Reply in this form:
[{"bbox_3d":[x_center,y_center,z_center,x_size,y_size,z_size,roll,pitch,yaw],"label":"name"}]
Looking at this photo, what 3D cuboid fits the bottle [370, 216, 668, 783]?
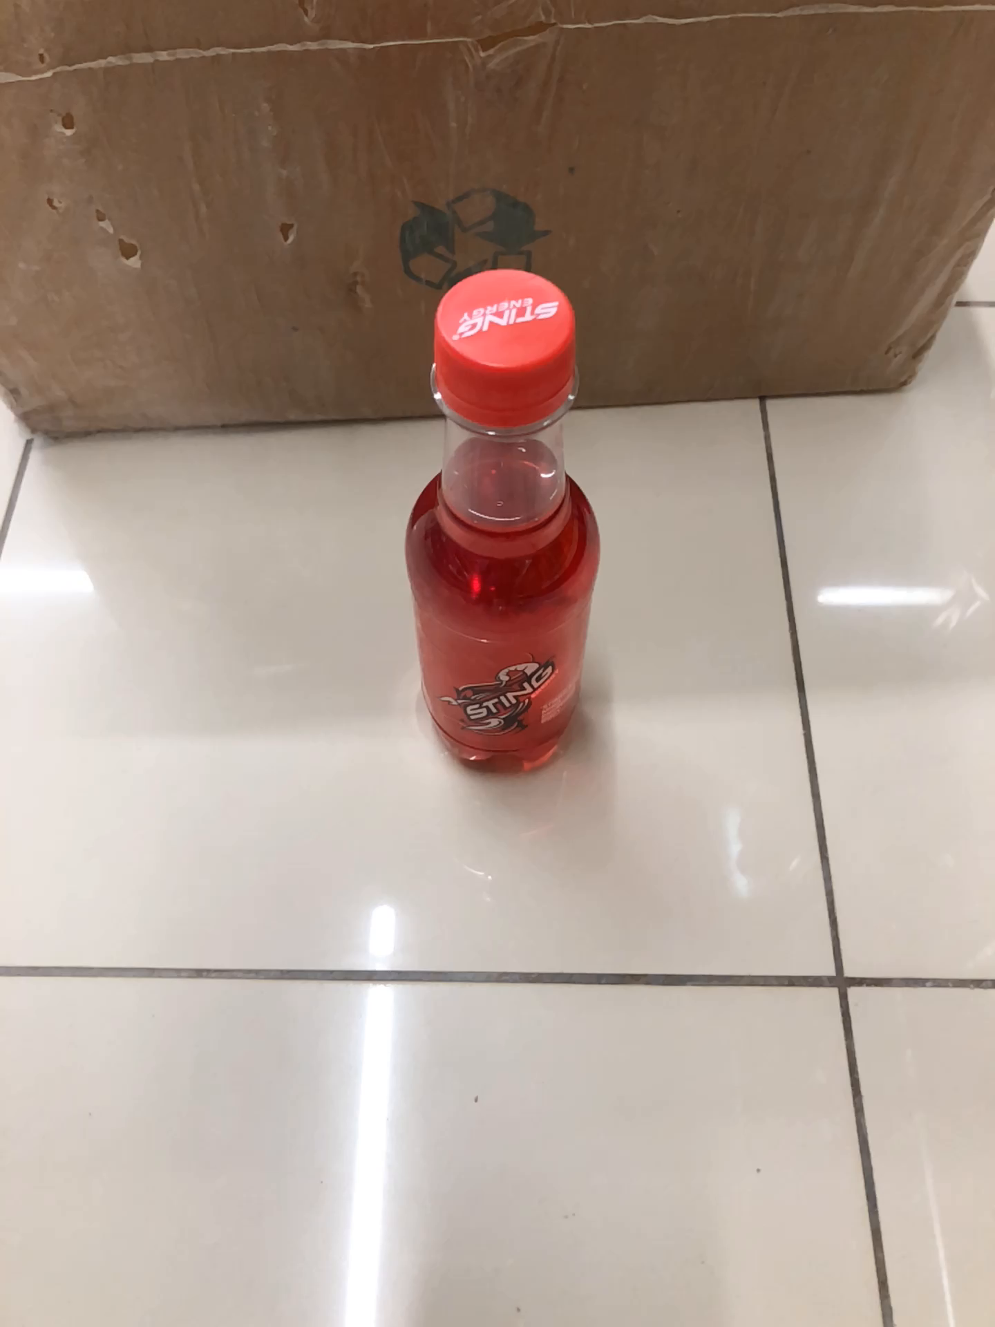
[{"bbox_3d":[0.005,-0.031,0.315,0.060,0.179,0.060,0,59,0],"label":"bottle"}]
